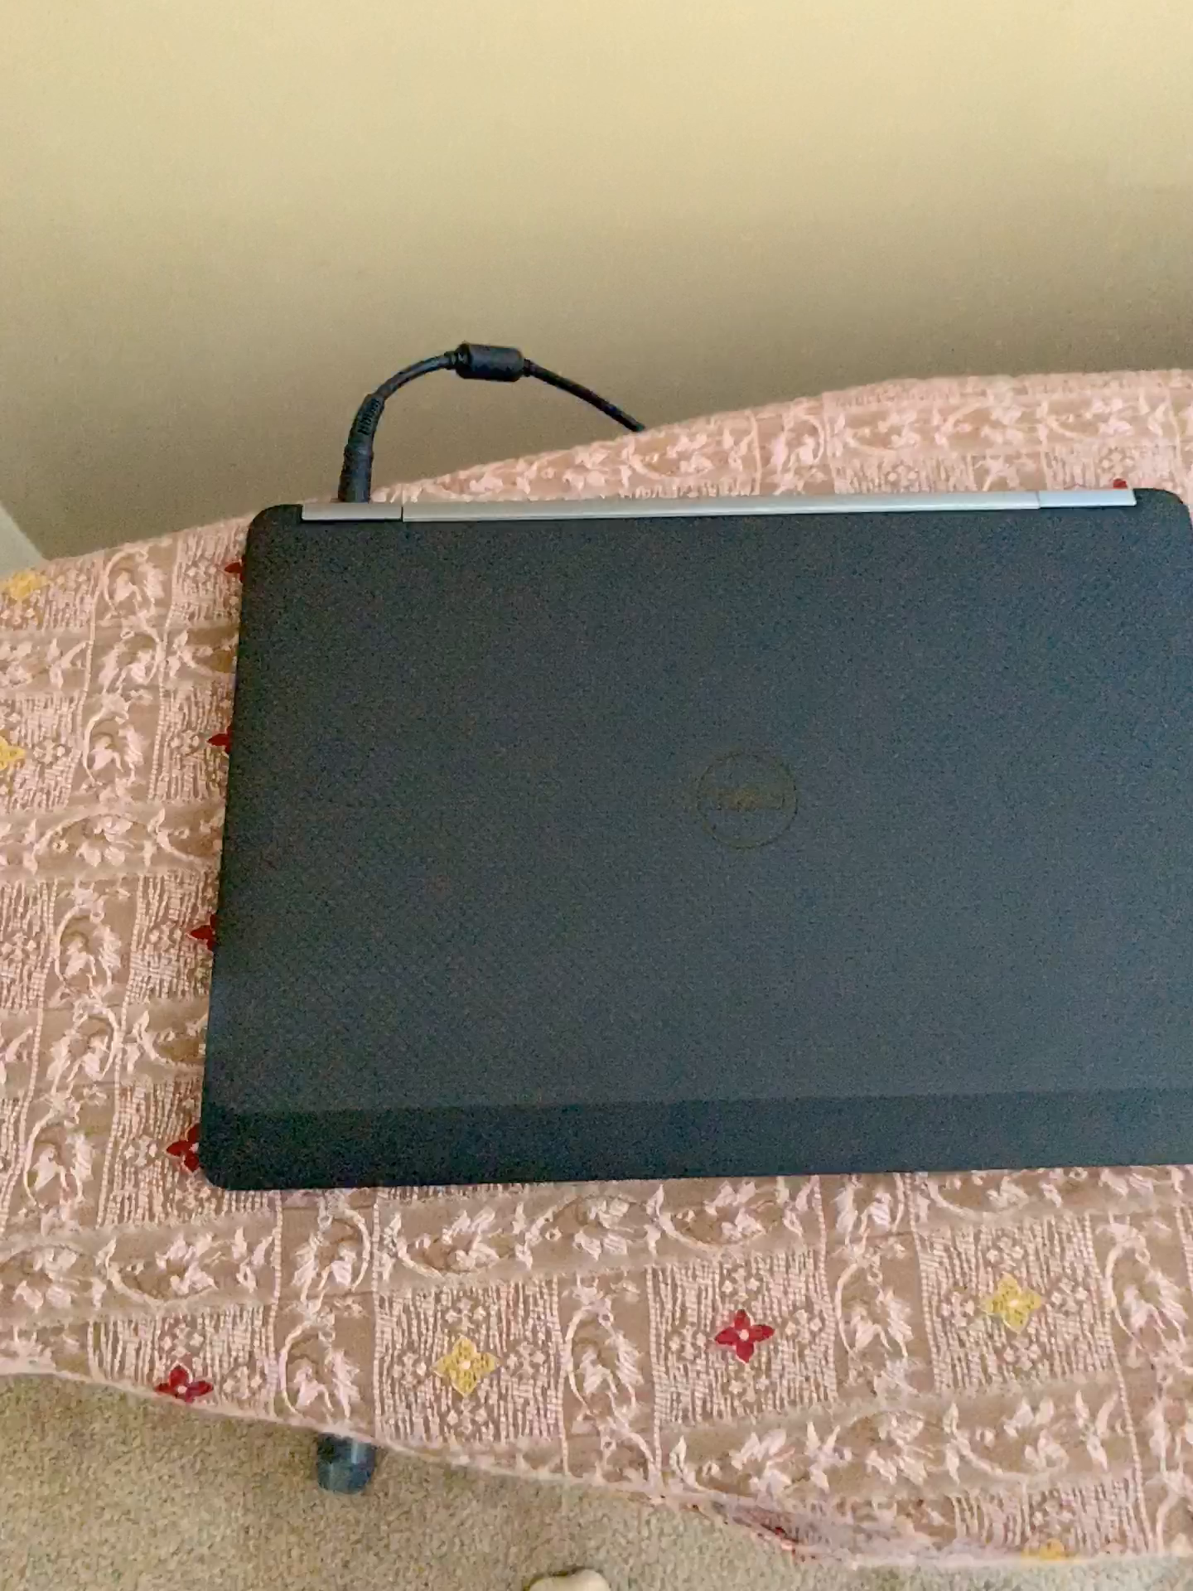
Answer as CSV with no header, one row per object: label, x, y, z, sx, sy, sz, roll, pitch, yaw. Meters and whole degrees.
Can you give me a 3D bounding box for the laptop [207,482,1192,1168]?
laptop,0.039,0.005,0.363,0.293,0.017,0.197,-2,72,3
